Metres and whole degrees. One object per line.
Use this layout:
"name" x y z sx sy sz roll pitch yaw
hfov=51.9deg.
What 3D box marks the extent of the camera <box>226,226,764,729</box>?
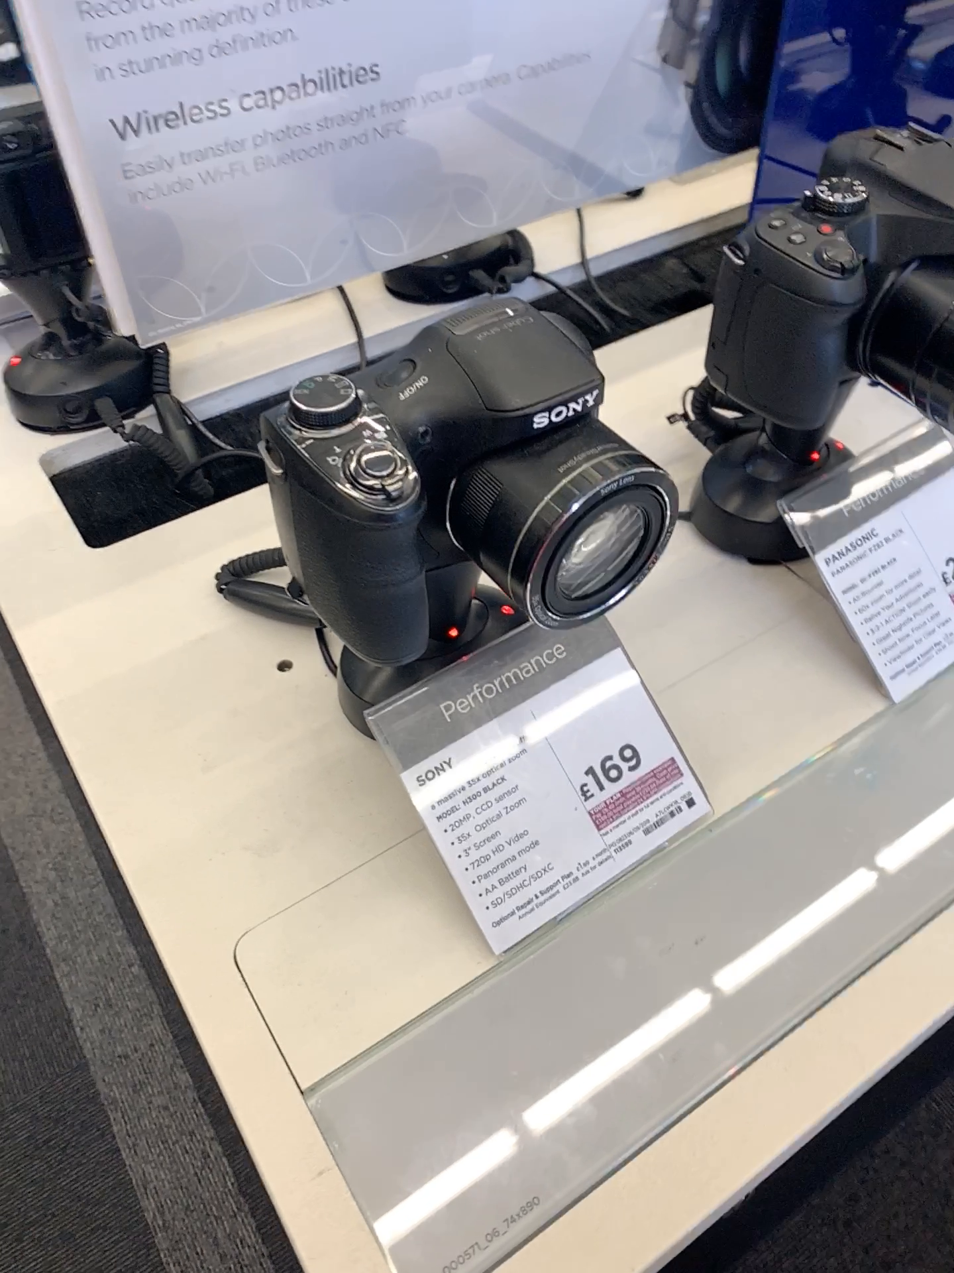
"camera" 0.005 -0.056 0.321 0.130 0.089 0.091 -27 53 -21
